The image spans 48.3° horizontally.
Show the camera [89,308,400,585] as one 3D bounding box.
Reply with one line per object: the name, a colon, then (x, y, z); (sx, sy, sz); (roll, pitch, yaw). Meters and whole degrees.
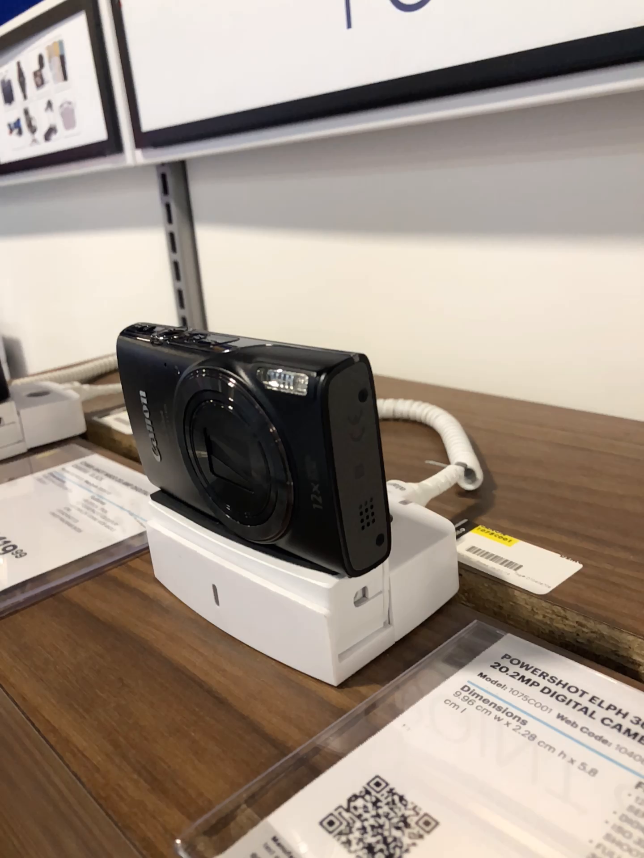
camera: (-0.026, -0.002, 0.211); (0.030, 0.056, 0.100); (-20, 24, -40)
